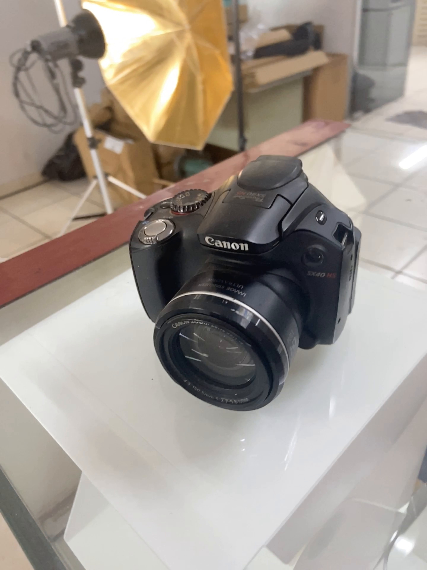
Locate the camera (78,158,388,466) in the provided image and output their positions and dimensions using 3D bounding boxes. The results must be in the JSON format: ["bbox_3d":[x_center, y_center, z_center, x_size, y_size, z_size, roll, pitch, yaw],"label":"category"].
[{"bbox_3d":[0.025,-0.001,0.252,0.120,0.089,0.141,8,38,20],"label":"camera"}]
